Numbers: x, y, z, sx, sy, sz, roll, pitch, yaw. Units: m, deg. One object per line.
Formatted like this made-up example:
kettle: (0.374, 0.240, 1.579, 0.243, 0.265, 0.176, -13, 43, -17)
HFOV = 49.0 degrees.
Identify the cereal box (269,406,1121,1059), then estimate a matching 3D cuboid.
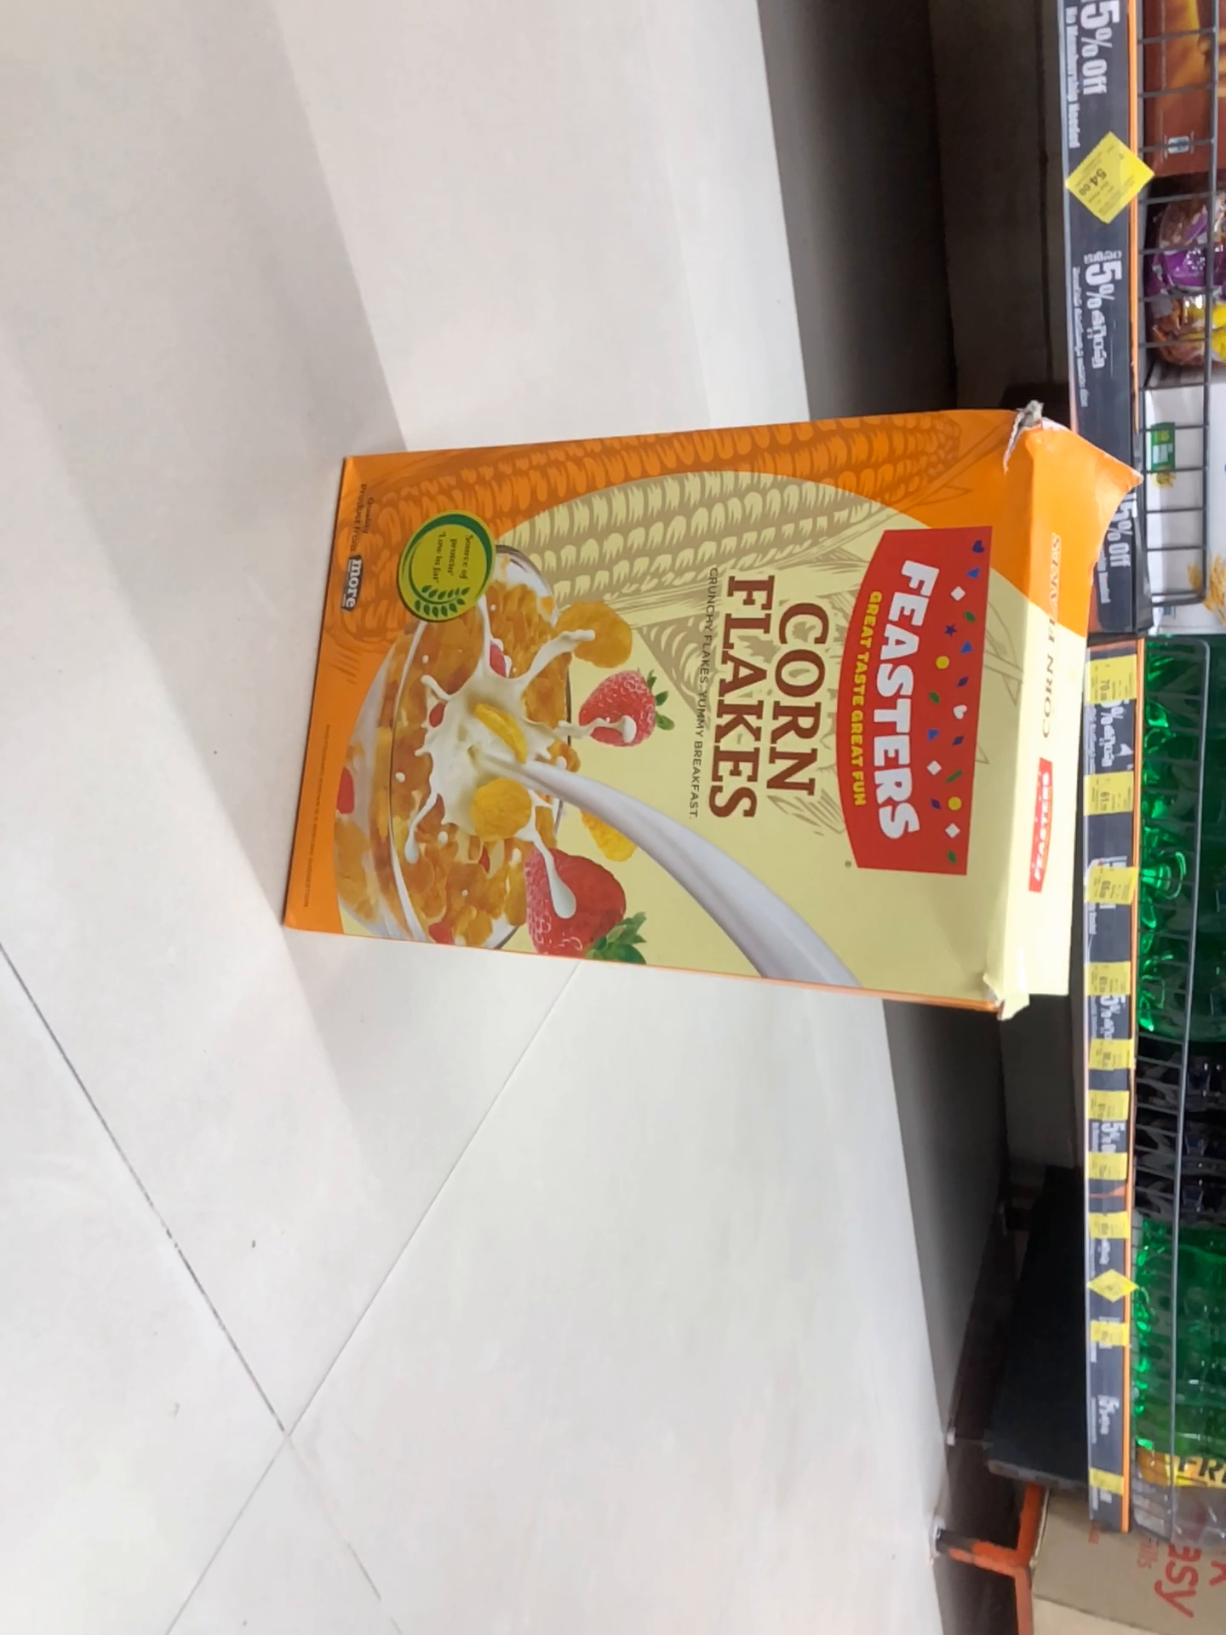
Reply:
cereal box: (0.025, -0.028, 0.461, 0.060, 0.268, 0.190, 24, 70, -67)
